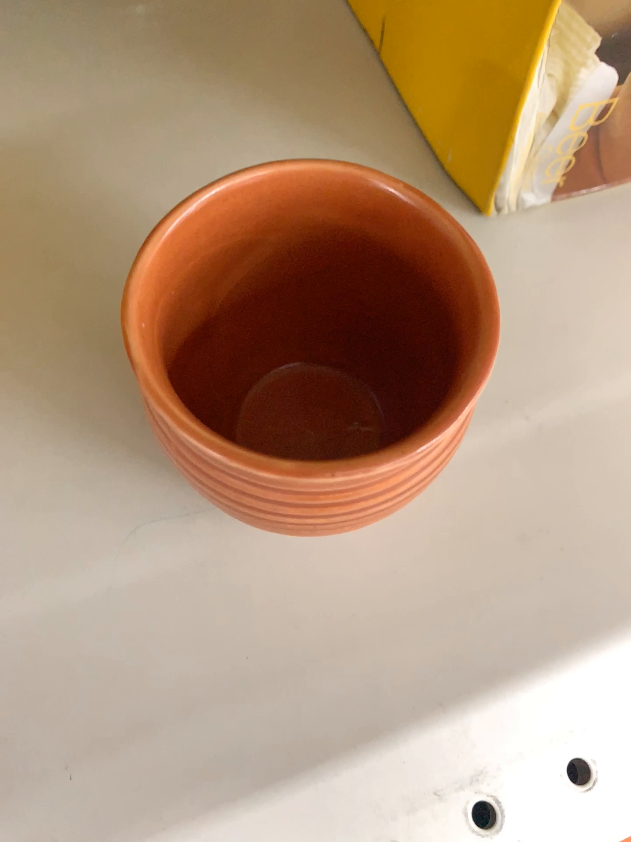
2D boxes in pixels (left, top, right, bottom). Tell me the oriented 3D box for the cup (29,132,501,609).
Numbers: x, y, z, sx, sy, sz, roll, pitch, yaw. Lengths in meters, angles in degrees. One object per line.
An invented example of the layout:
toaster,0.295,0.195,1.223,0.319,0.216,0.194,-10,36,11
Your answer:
cup,-0.006,-0.004,0.137,0.060,0.070,0.060,1,66,-2
